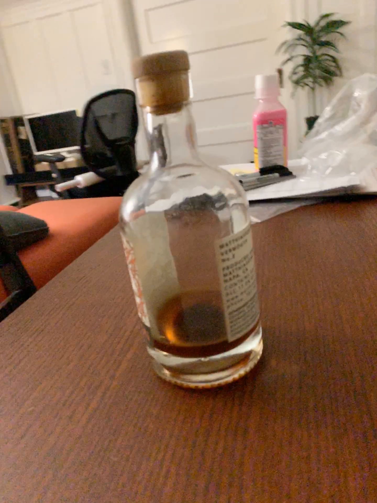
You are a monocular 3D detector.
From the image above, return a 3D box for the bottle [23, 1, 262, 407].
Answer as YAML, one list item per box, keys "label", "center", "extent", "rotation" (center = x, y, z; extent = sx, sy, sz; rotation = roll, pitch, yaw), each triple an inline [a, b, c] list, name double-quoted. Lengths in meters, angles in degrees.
- label: "bottle"
  center: [-0.007, -0.019, 0.225]
  extent: [0.080, 0.189, 0.090]
  rotation: [-3, 22, 15]
